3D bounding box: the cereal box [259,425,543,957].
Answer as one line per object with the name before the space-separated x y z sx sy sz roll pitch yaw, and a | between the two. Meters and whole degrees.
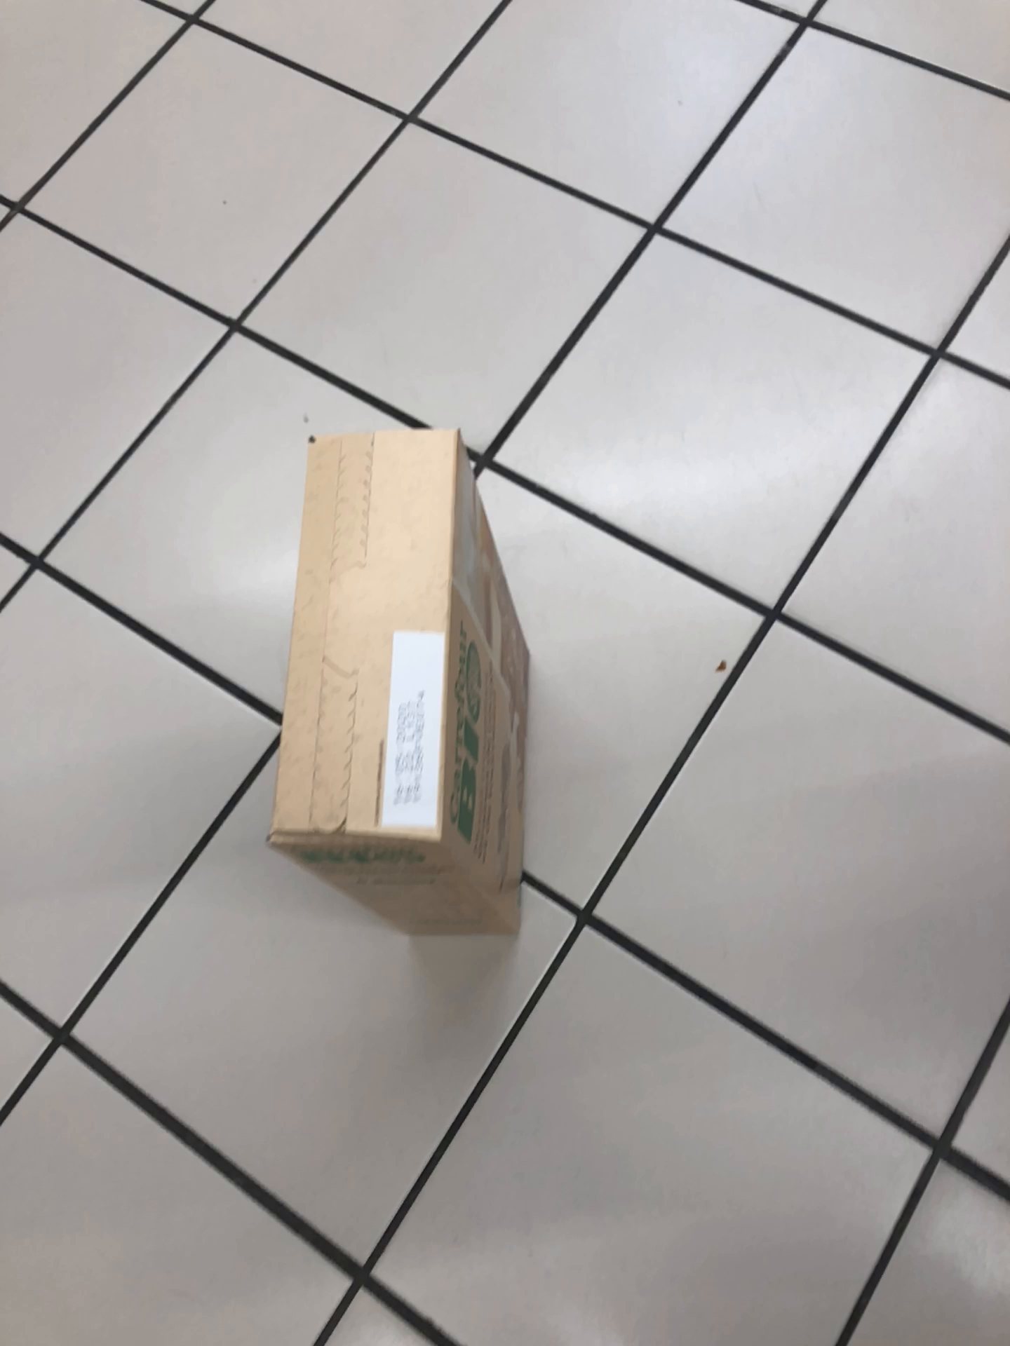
cereal box | -0.030 0.026 0.498 0.070 0.229 0.170 0 70 7
